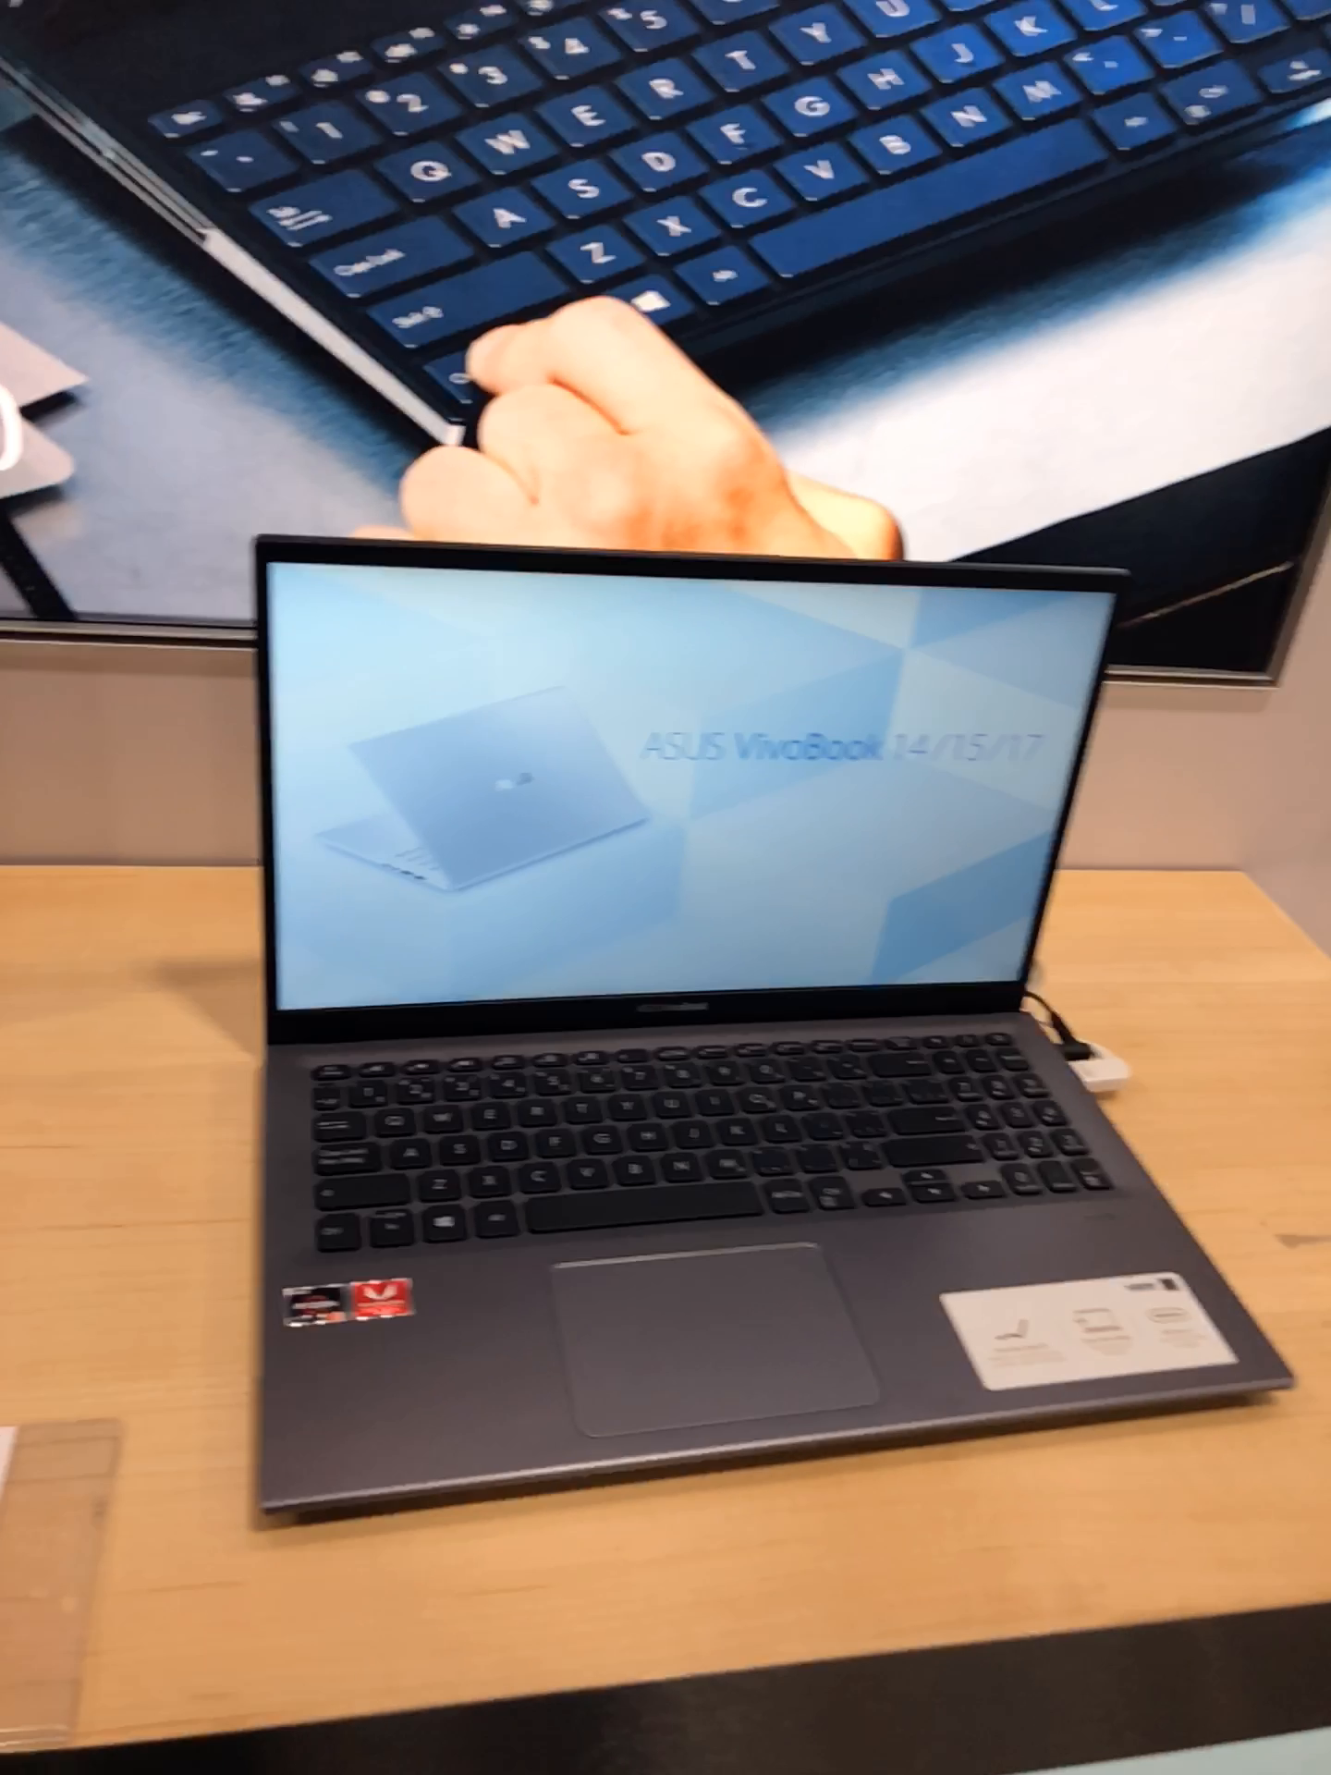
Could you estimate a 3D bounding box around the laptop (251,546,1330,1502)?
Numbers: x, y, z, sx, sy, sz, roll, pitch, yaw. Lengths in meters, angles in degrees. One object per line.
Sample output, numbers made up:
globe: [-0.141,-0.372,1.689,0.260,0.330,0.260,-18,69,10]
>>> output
laptop: [0.039,0.026,0.518,0.349,0.211,0.242,-1,31,-14]
